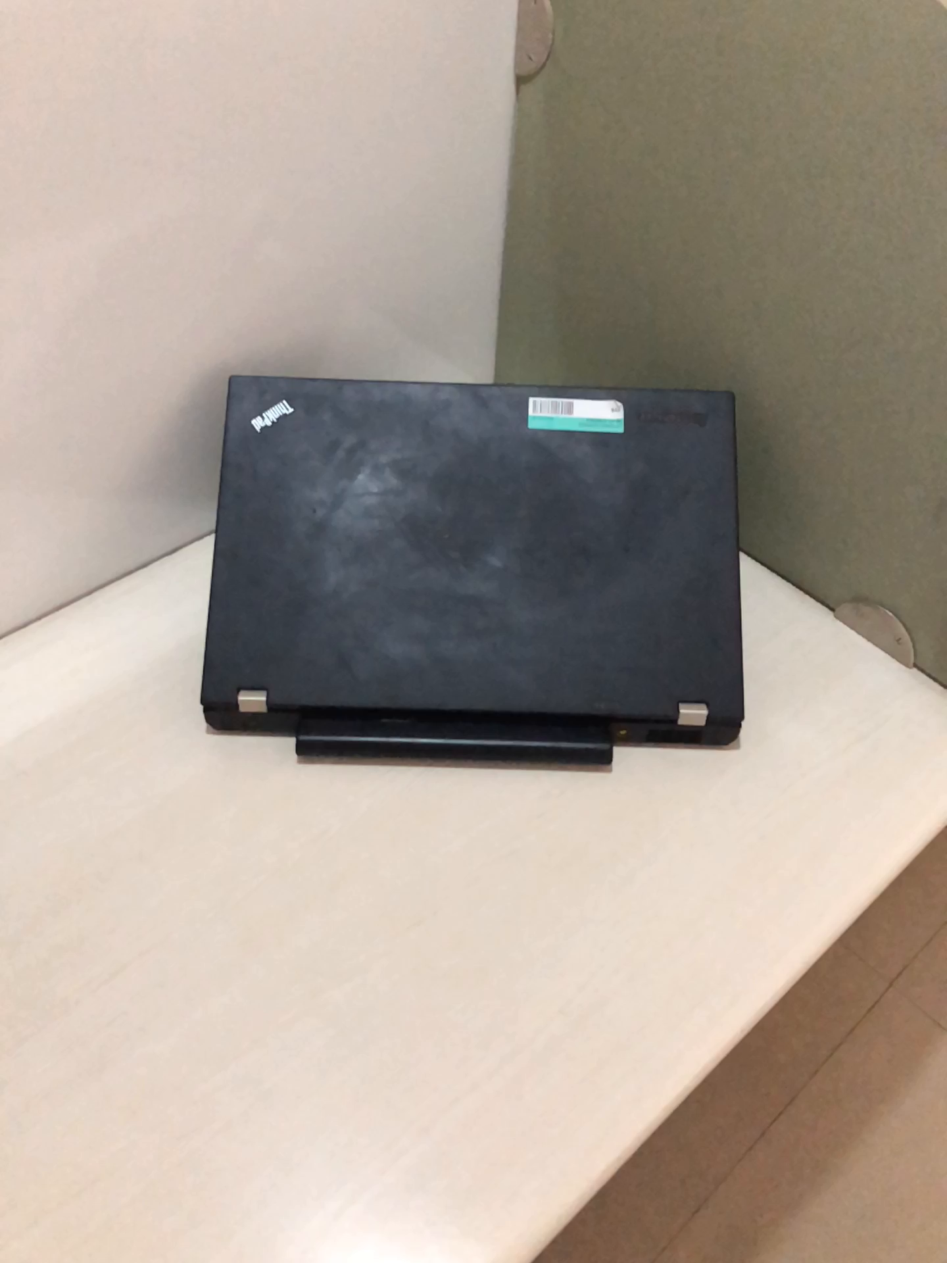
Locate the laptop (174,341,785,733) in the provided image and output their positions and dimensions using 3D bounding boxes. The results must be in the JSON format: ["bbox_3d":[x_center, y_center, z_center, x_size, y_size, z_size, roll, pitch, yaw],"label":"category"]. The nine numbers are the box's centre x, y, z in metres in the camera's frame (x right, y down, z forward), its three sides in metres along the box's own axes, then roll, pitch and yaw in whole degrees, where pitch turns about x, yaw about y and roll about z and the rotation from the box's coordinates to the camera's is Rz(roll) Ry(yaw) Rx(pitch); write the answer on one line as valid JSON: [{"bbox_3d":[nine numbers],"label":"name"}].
[{"bbox_3d":[0.004,-0.071,0.730,0.354,0.140,0.233,1,48,0],"label":"laptop"}]
